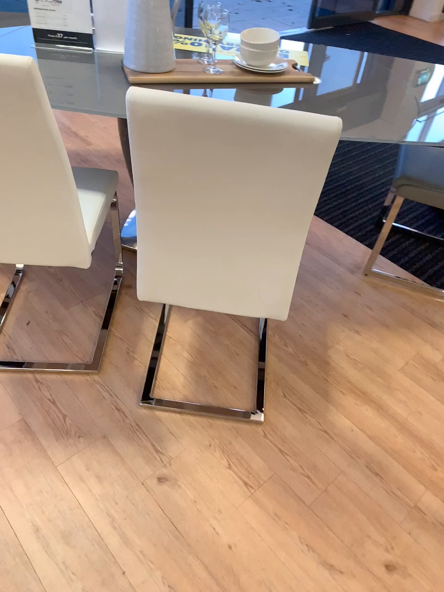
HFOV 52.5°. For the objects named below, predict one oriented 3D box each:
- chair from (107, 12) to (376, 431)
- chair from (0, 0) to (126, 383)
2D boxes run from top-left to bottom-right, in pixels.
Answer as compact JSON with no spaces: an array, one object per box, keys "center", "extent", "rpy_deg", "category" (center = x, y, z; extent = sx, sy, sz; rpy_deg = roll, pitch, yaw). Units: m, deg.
[{"center":[0.007,-0.147,1.212],"extent":[0.422,0.923,0.540],"rpy_deg":[7,43,-1],"category":"chair"},{"center":[-0.545,-0.260,1.266],"extent":[0.432,0.933,0.530],"rpy_deg":[3,43,-5],"category":"chair"}]
